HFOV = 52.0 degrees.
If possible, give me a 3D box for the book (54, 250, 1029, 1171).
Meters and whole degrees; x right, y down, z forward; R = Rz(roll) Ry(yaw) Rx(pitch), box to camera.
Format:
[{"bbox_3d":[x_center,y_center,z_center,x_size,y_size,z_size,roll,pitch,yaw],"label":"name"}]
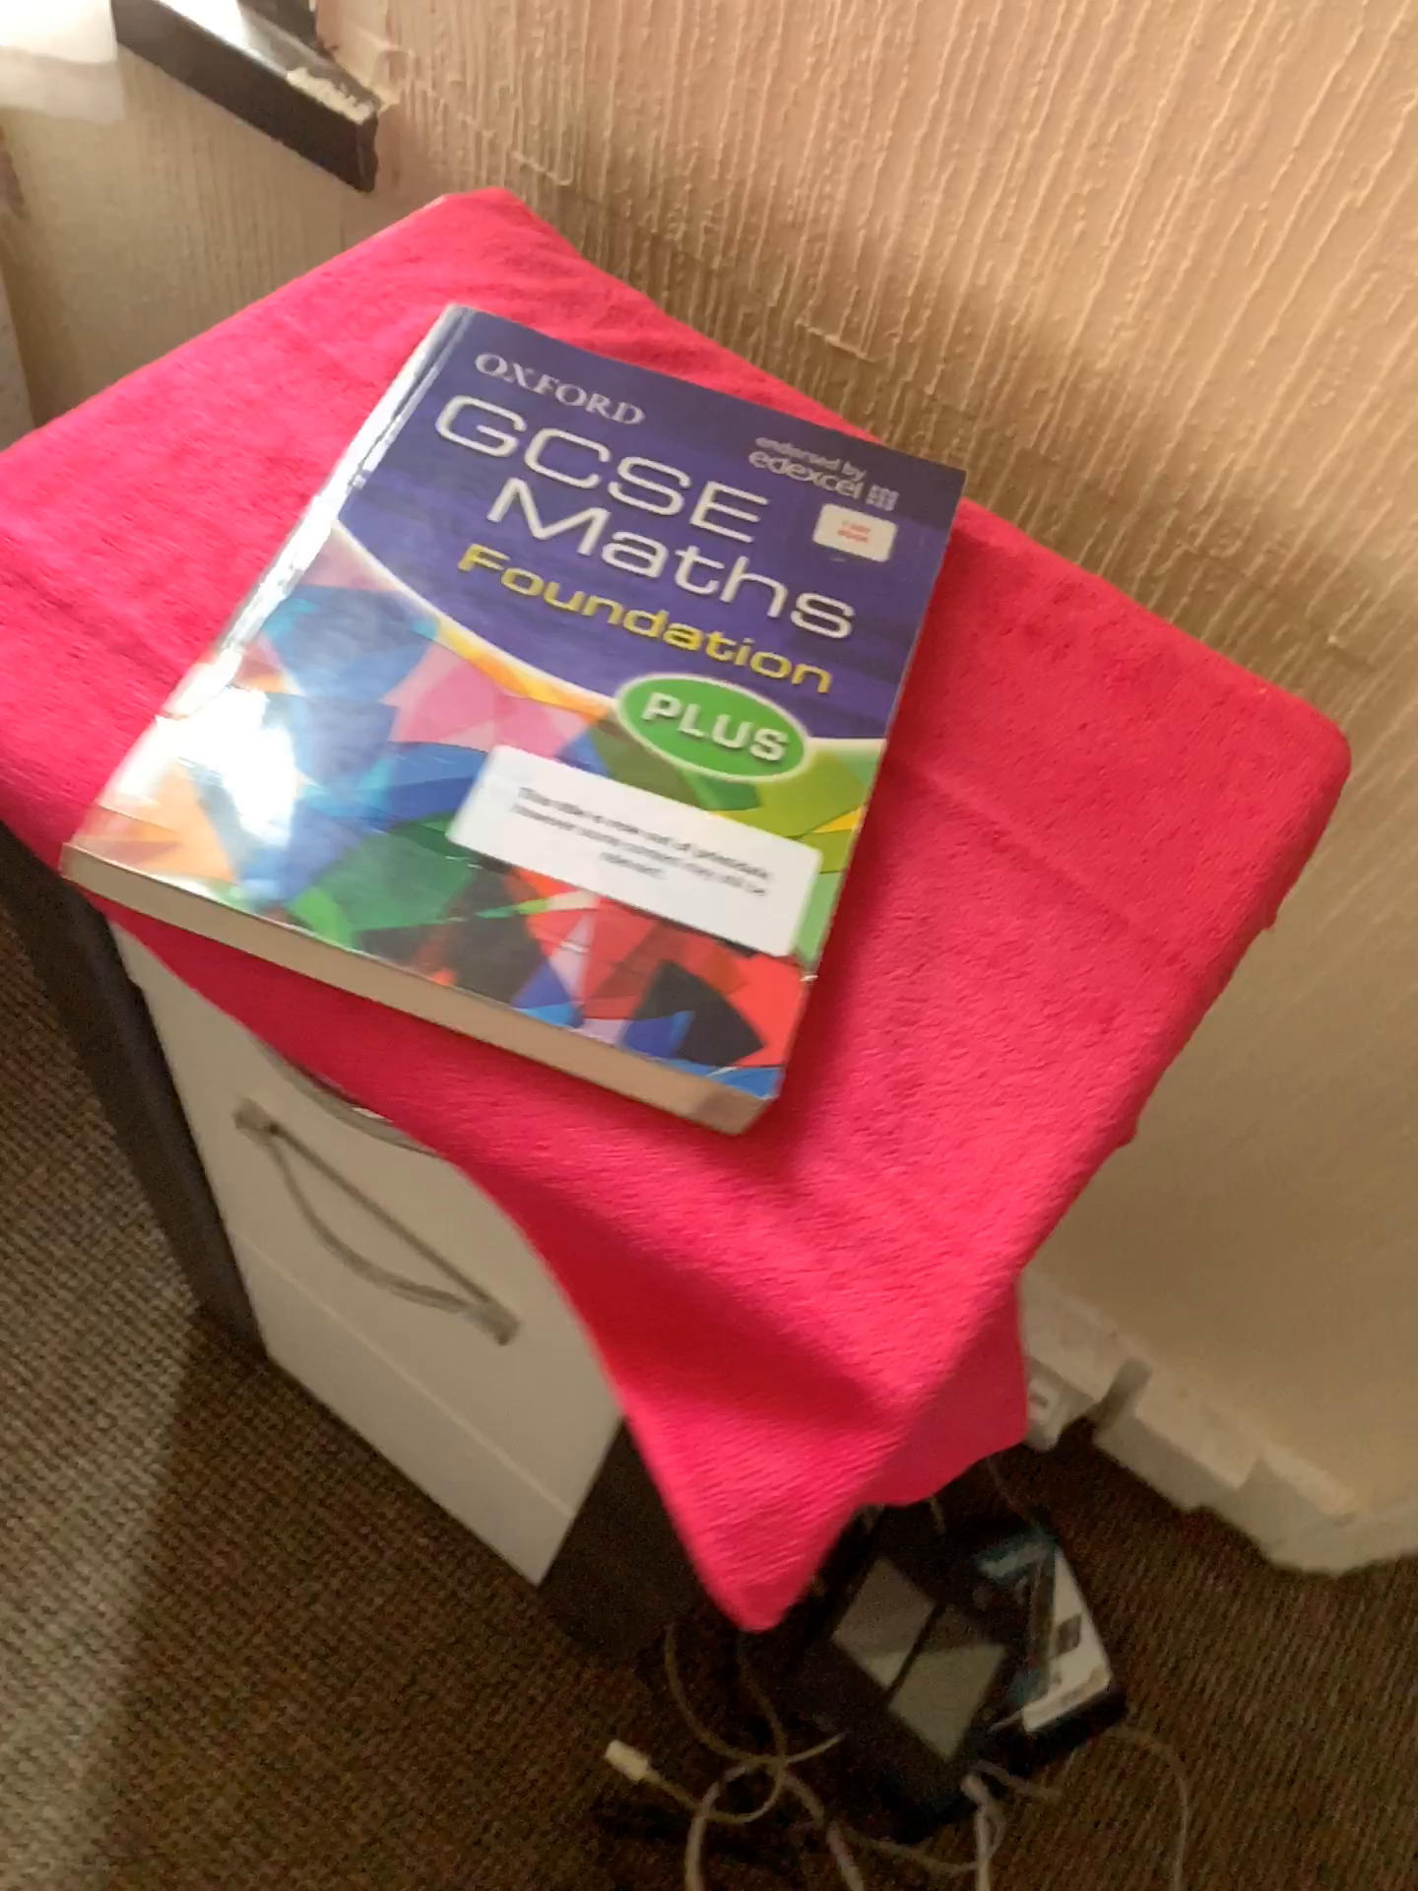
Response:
[{"bbox_3d":[-0.029,-0.094,0.458,0.210,0.030,0.282,20,58,1],"label":"book"}]
